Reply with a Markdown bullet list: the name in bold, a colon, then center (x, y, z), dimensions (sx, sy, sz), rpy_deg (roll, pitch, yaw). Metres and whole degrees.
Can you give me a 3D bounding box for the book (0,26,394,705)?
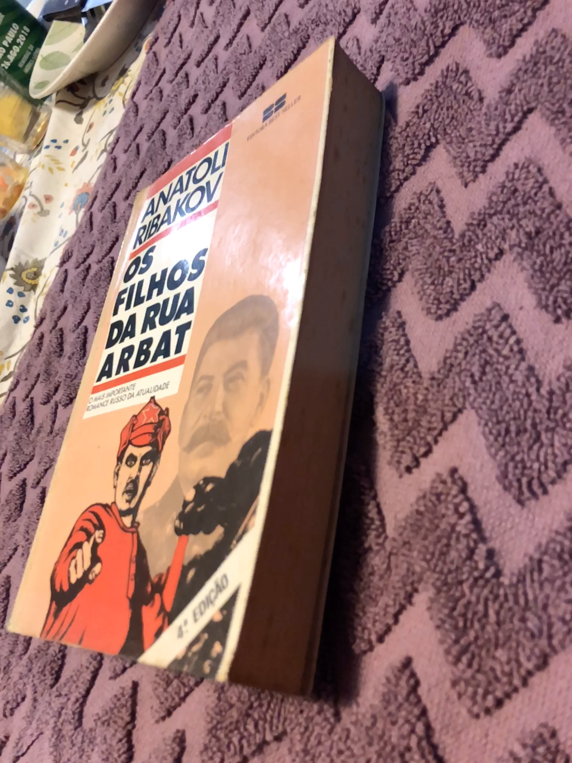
- **book**: center (-0.035, -0.003, 0.225), dimensions (0.141, 0.040, 0.190), rpy_deg (-16, 59, 44)
